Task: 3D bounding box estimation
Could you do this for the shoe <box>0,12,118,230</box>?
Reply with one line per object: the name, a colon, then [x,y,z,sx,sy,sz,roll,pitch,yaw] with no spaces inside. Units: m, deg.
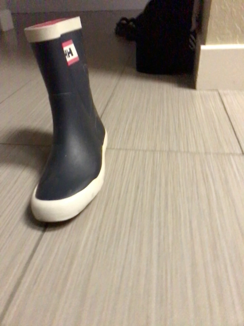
shoe: [-0.085,-0.083,0.395,0.102,0.216,0.281,-1,34,8]
